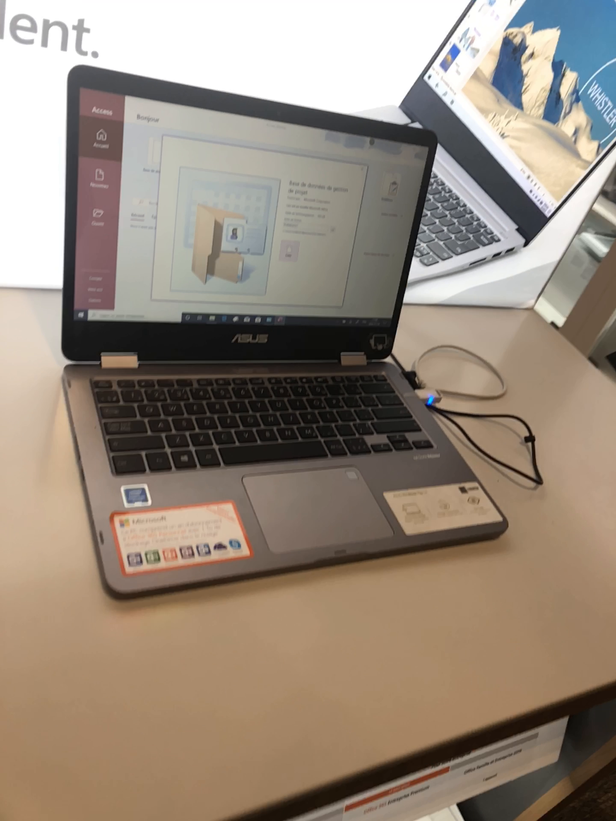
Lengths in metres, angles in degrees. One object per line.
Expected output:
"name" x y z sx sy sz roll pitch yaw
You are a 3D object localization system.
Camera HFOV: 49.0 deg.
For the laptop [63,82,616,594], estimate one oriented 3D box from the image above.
"laptop" 0.004 -0.066 0.508 0.312 0.214 0.273 -2 41 -28
